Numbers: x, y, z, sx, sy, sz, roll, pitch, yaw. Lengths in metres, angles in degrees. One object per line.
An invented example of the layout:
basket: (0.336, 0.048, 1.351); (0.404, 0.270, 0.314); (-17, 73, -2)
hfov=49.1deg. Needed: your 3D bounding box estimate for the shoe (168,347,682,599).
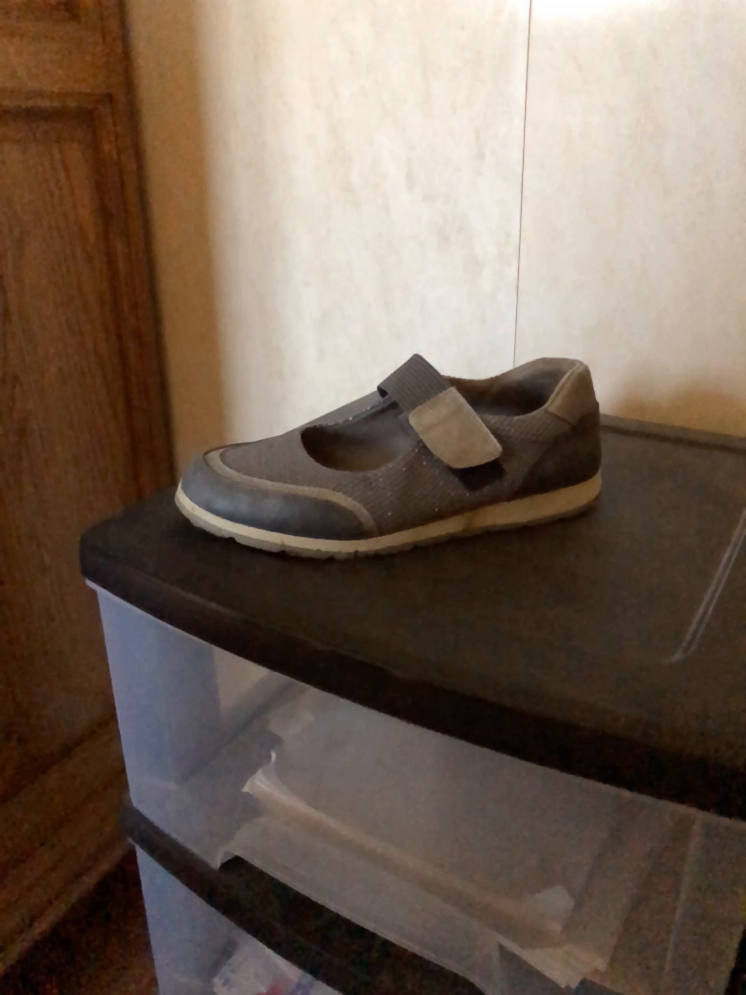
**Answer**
shoe: (0.024, -0.024, 0.464); (0.260, 0.080, 0.110); (-7, 24, -15)
